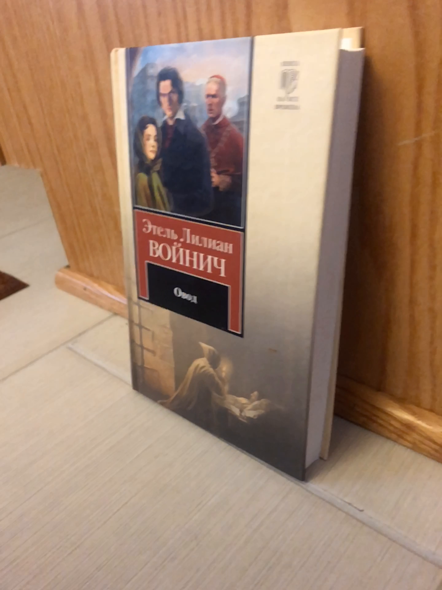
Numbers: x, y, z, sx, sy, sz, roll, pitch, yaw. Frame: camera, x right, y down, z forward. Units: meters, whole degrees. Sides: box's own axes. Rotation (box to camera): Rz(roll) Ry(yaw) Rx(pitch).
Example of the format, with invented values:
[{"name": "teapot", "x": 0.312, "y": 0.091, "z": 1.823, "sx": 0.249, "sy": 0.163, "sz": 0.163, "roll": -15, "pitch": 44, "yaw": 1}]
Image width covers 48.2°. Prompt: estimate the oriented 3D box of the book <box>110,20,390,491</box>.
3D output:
[{"name": "book", "x": 0.003, "y": -0.021, "z": 0.260, "sx": 0.139, "sy": 0.203, "sz": 0.030, "roll": 18, "pitch": 26, "yaw": 39}]
